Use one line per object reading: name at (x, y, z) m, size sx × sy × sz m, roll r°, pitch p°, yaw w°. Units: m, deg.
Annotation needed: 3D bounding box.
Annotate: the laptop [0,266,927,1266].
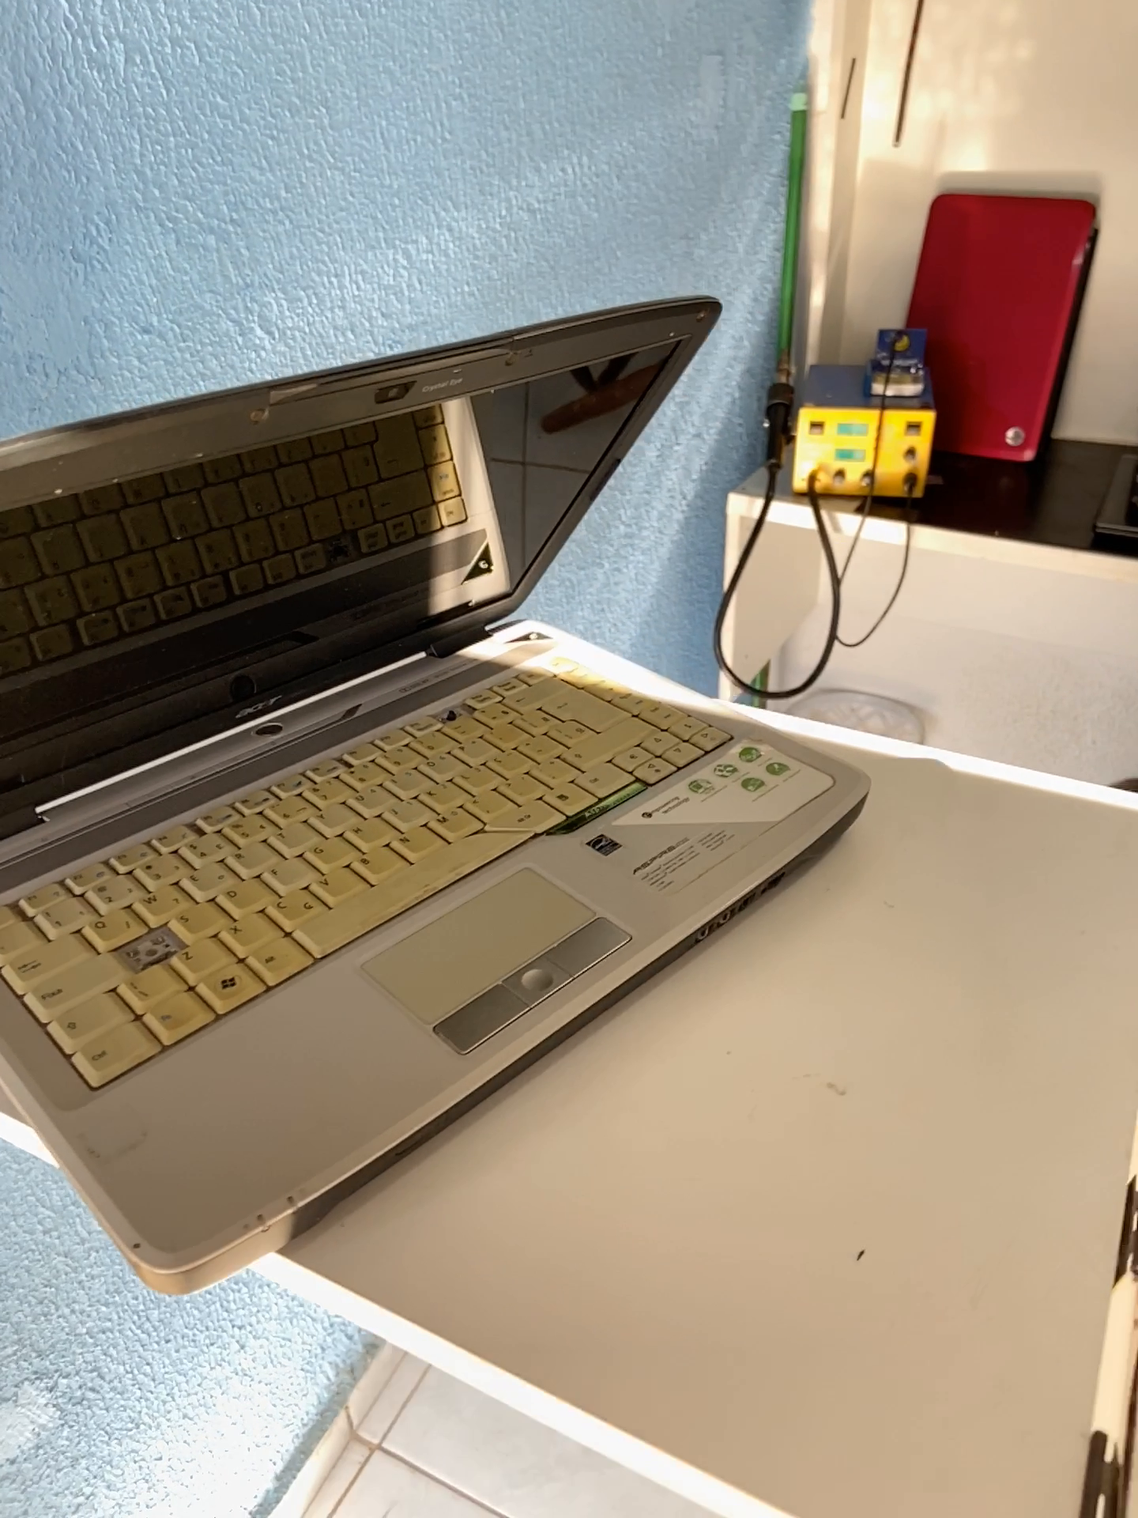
laptop at (-0.069, -0.048, 0.429) m, size 0.329 × 0.179 × 0.225 m, roll -28°, pitch 41°, yaw -35°
